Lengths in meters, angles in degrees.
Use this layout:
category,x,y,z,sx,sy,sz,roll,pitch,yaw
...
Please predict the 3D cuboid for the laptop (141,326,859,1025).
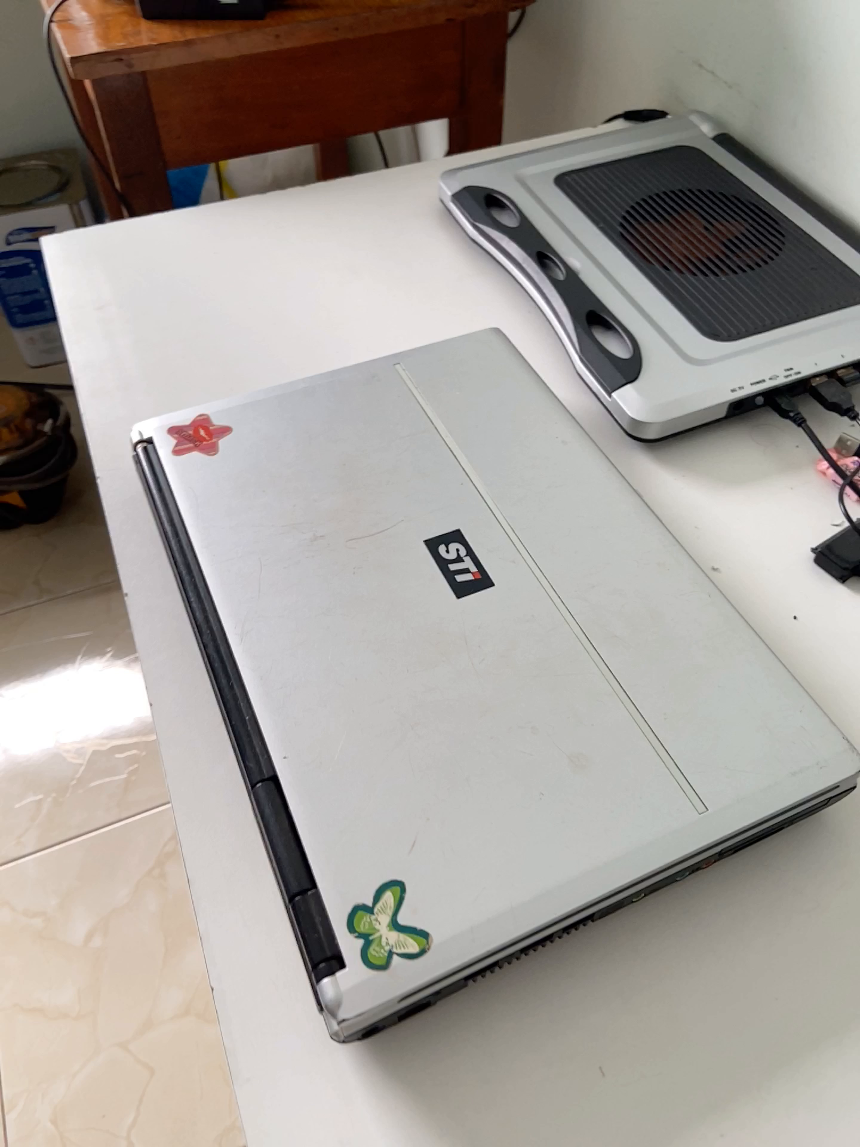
category,x,y,z,sx,sy,sz,roll,pitch,yaw
laptop,0.008,-0.001,0.441,0.234,0.004,0.340,-19,53,-15
